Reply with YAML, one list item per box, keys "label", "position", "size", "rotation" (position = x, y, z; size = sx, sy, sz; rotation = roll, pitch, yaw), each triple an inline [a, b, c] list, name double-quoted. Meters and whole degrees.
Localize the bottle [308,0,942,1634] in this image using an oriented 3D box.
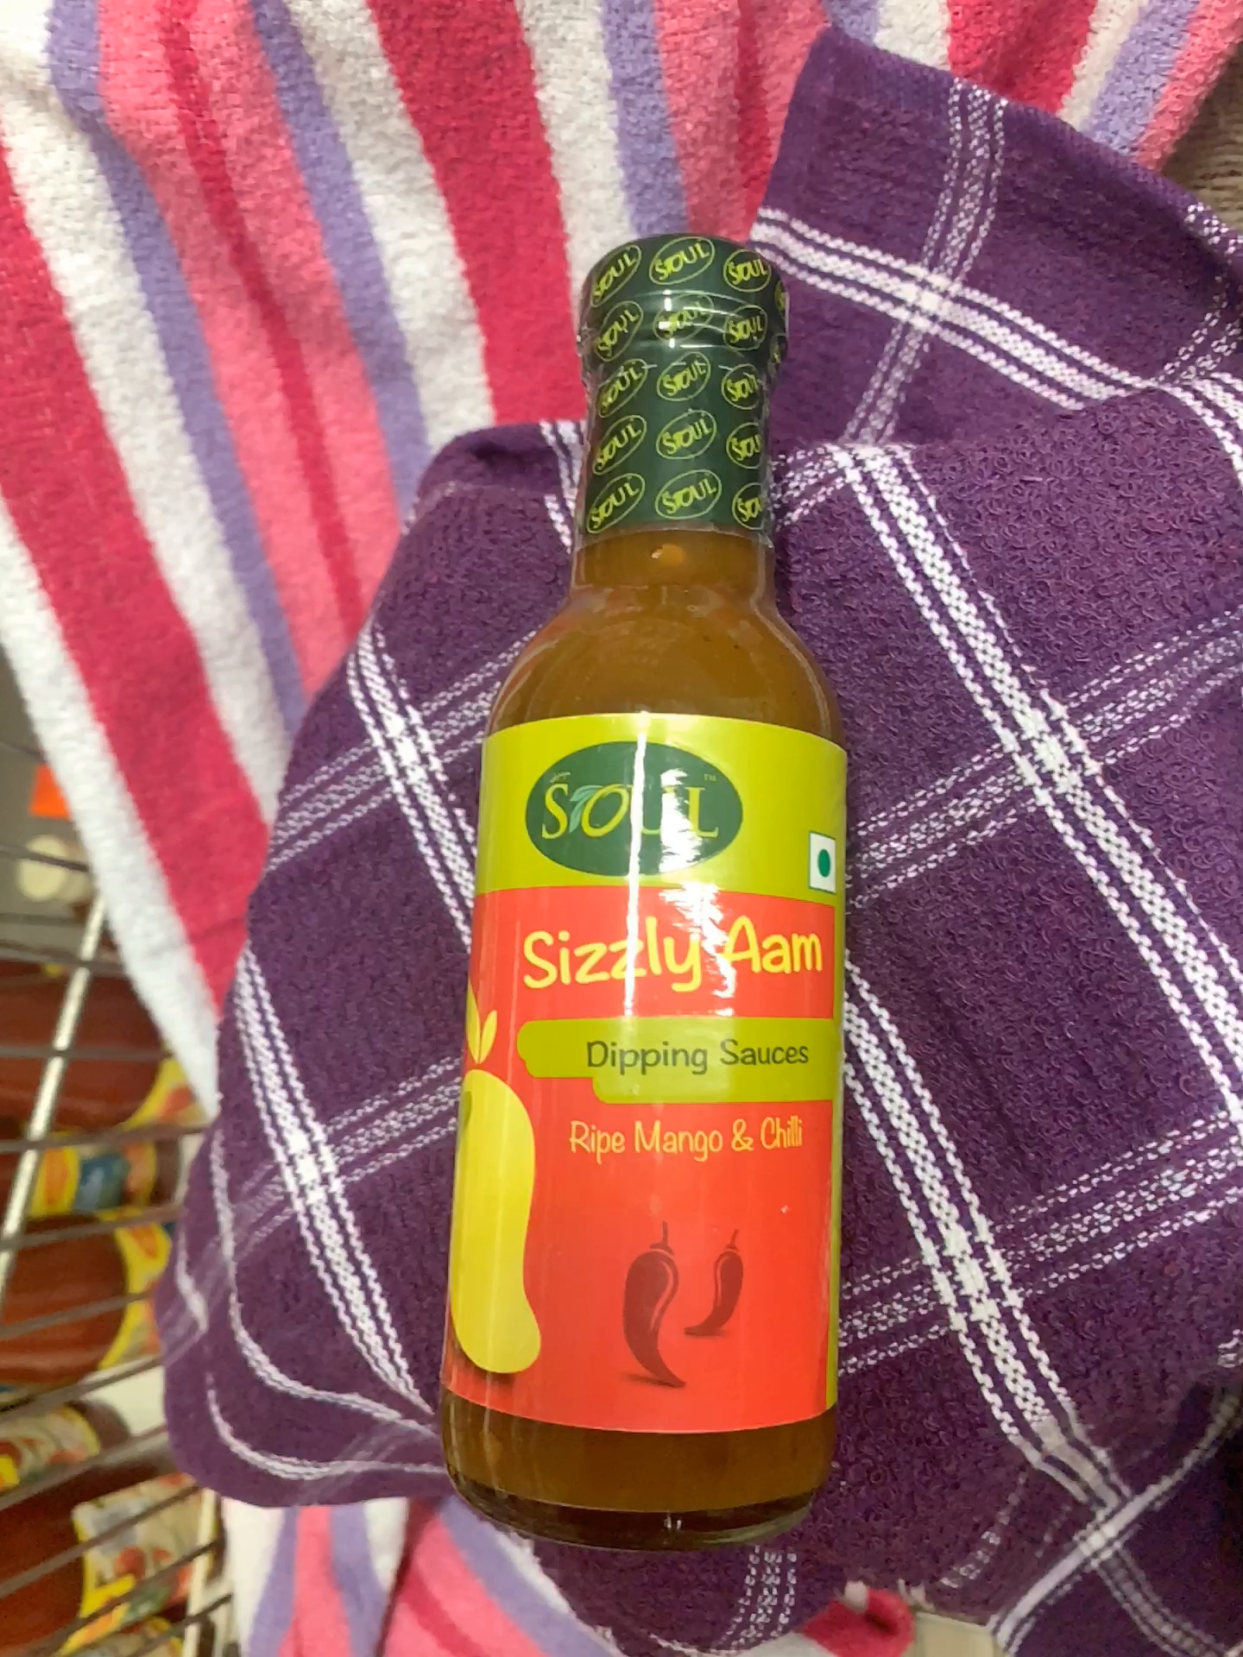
- label: "bottle"
  position: [0.008, -0.012, 0.186]
  size: [0.060, 0.060, 0.200]
  rotation: [-1, 80, 25]
